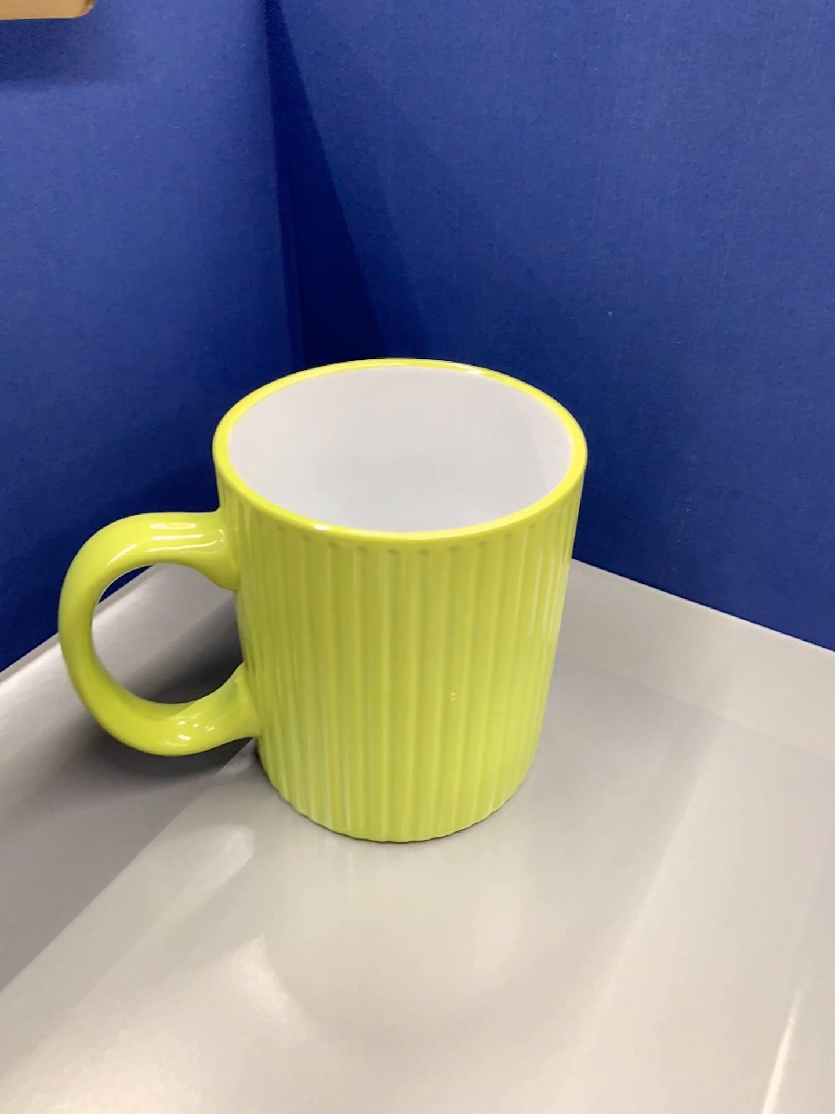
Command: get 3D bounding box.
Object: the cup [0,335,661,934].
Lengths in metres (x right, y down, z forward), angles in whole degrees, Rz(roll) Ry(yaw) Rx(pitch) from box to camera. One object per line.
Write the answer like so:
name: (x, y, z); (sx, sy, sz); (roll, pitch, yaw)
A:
cup: (-0.025, 0.012, 0.226); (0.129, 0.098, 0.091); (-10, 36, -15)
